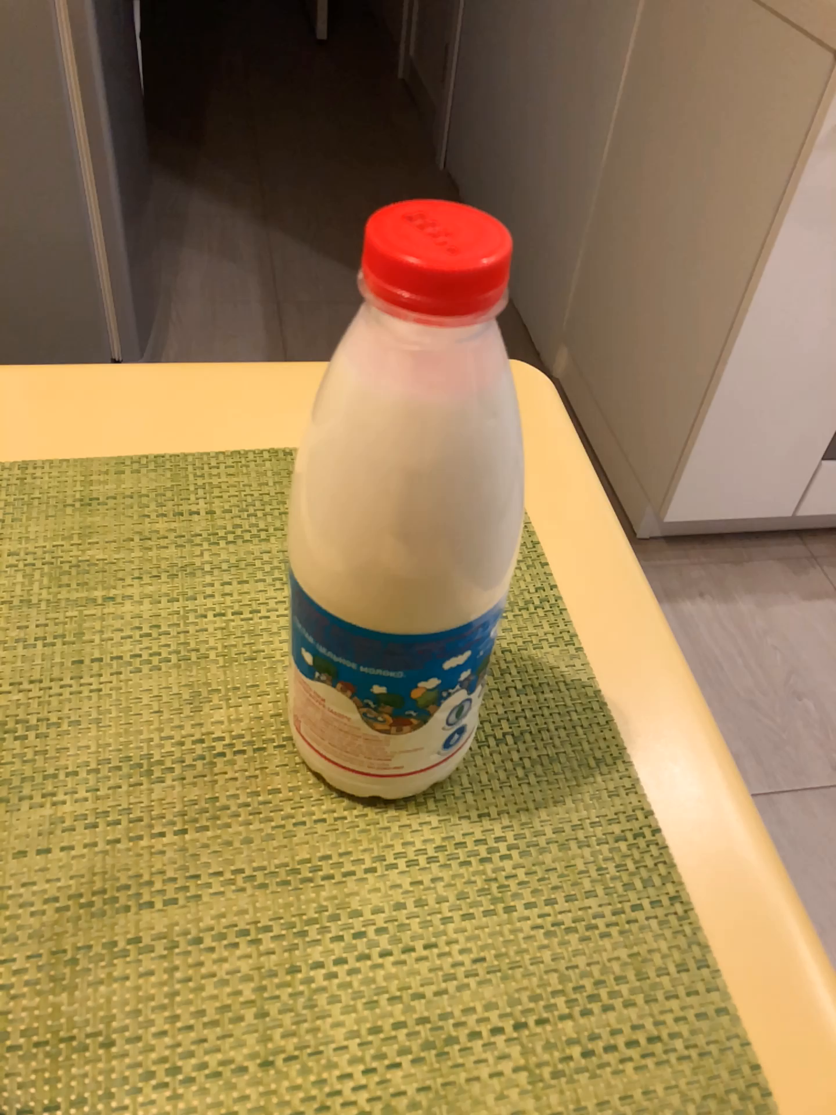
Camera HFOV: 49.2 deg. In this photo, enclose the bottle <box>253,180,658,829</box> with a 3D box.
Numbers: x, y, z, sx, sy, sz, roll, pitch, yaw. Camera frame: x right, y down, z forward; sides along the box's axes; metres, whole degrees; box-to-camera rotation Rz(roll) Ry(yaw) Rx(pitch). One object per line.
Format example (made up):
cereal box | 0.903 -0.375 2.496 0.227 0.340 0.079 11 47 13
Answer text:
bottle | -0.005 -0.007 0.328 0.090 0.218 0.091 4 44 -4
